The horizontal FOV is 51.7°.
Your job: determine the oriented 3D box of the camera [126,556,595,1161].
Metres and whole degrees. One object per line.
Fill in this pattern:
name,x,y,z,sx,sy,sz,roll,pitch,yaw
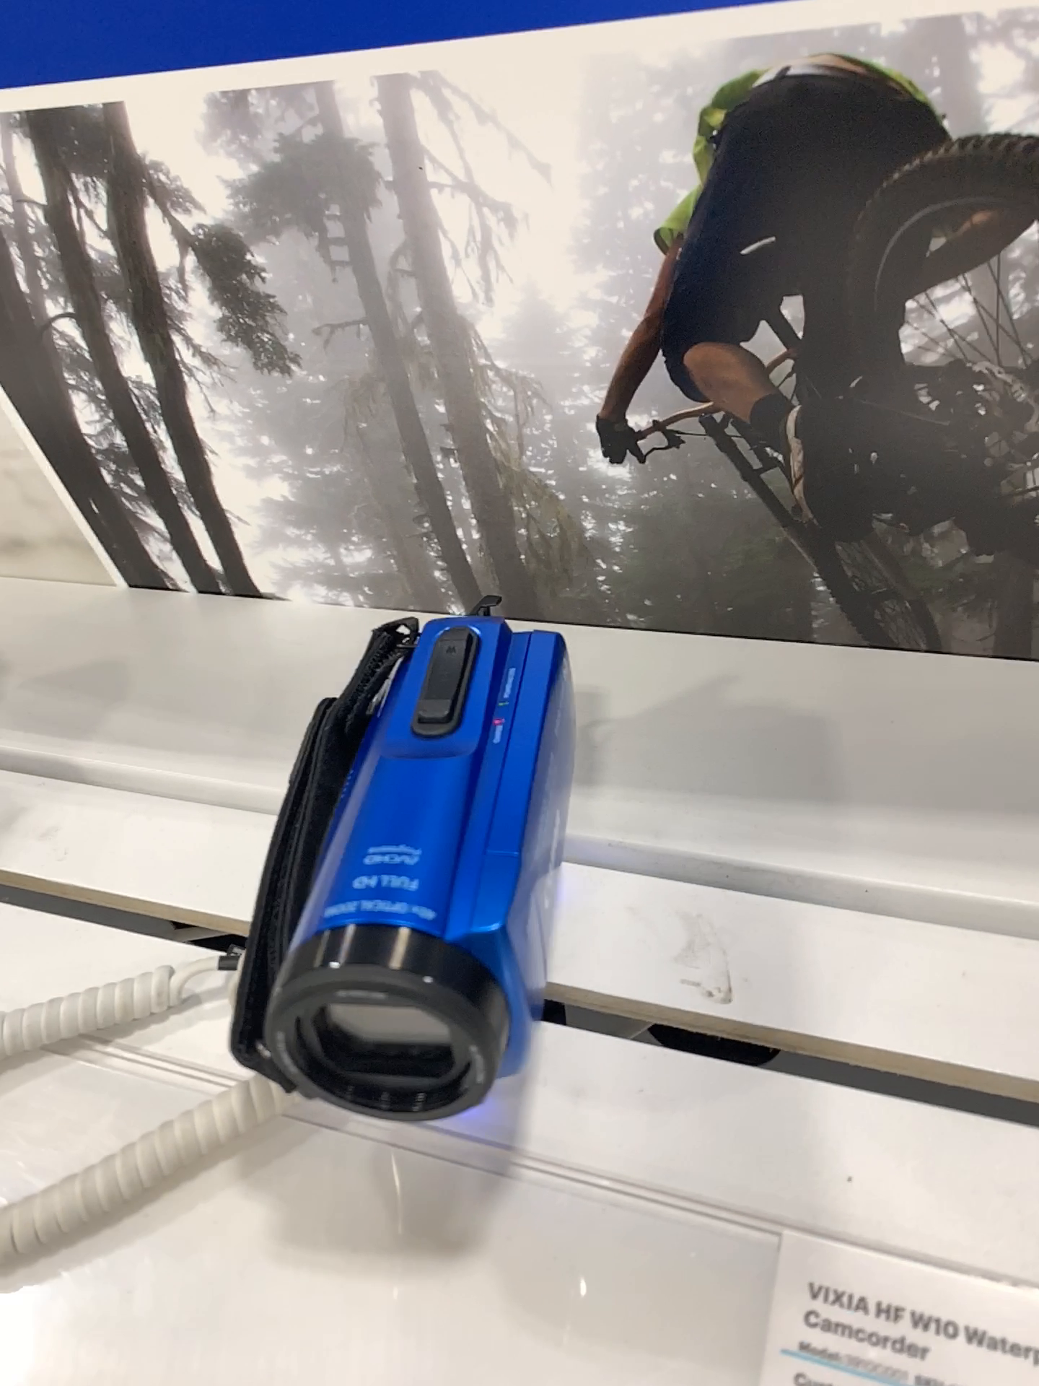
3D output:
camera,-0.025,0.030,0.265,0.072,0.057,0.144,-1,38,10
